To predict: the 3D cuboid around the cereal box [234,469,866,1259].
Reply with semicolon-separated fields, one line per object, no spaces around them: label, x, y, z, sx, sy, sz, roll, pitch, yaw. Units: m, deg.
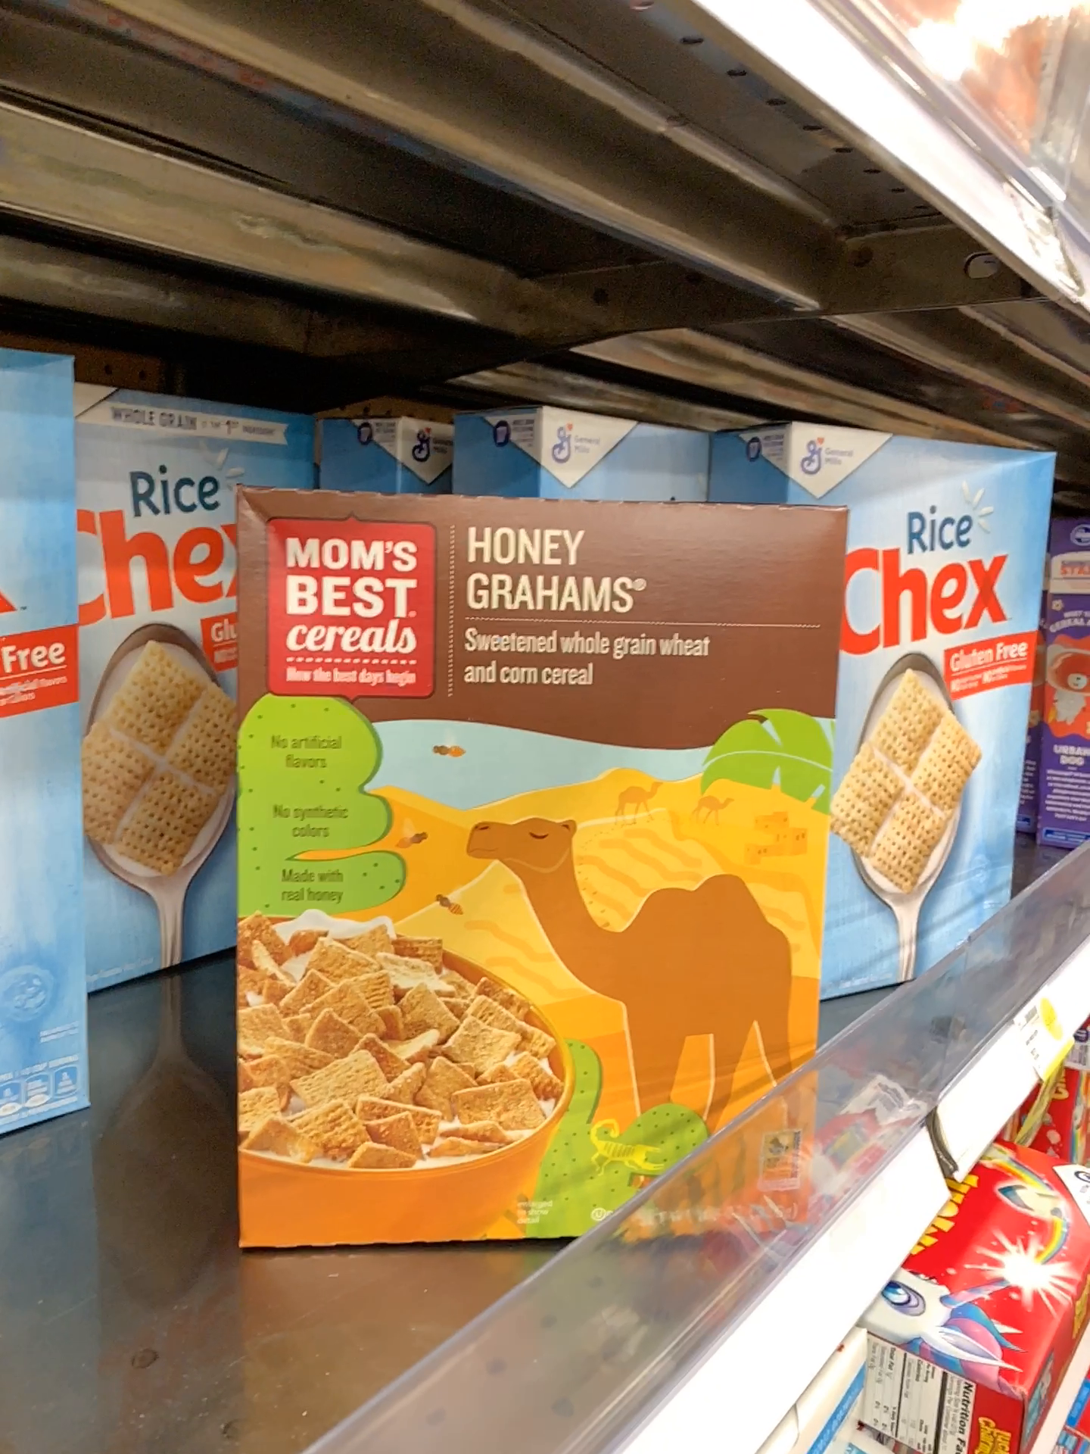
cereal box;-0.001;0.047;0.395;0.200;0.260;0.050;1;7;-6
